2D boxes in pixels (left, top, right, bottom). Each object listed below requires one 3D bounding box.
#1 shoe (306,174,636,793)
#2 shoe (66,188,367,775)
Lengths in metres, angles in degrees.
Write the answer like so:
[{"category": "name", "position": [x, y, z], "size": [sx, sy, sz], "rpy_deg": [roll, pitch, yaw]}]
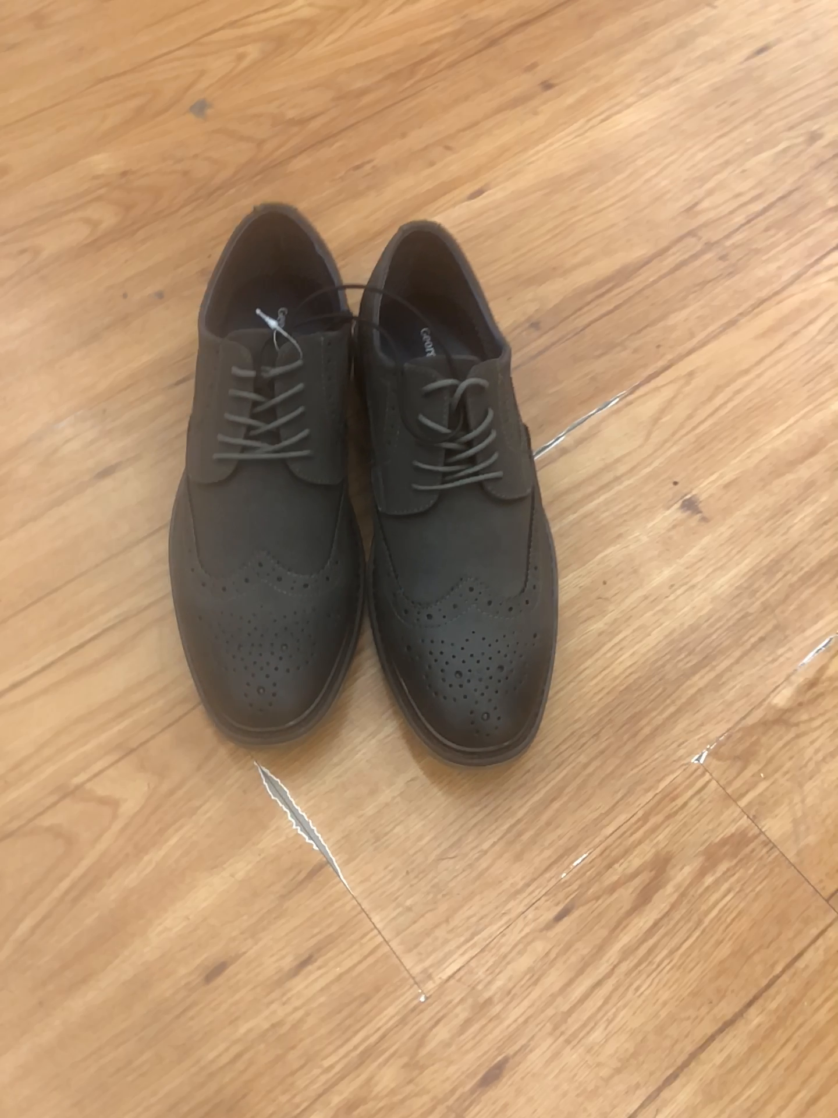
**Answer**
[{"category": "shoe", "position": [0.010, -0.043, 0.456], "size": [0.110, 0.110, 0.280], "rpy_deg": [-4, 64, -5]}, {"category": "shoe", "position": [-0.085, -0.043, 0.474], "size": [0.110, 0.110, 0.280], "rpy_deg": [1, 64, -2]}]
